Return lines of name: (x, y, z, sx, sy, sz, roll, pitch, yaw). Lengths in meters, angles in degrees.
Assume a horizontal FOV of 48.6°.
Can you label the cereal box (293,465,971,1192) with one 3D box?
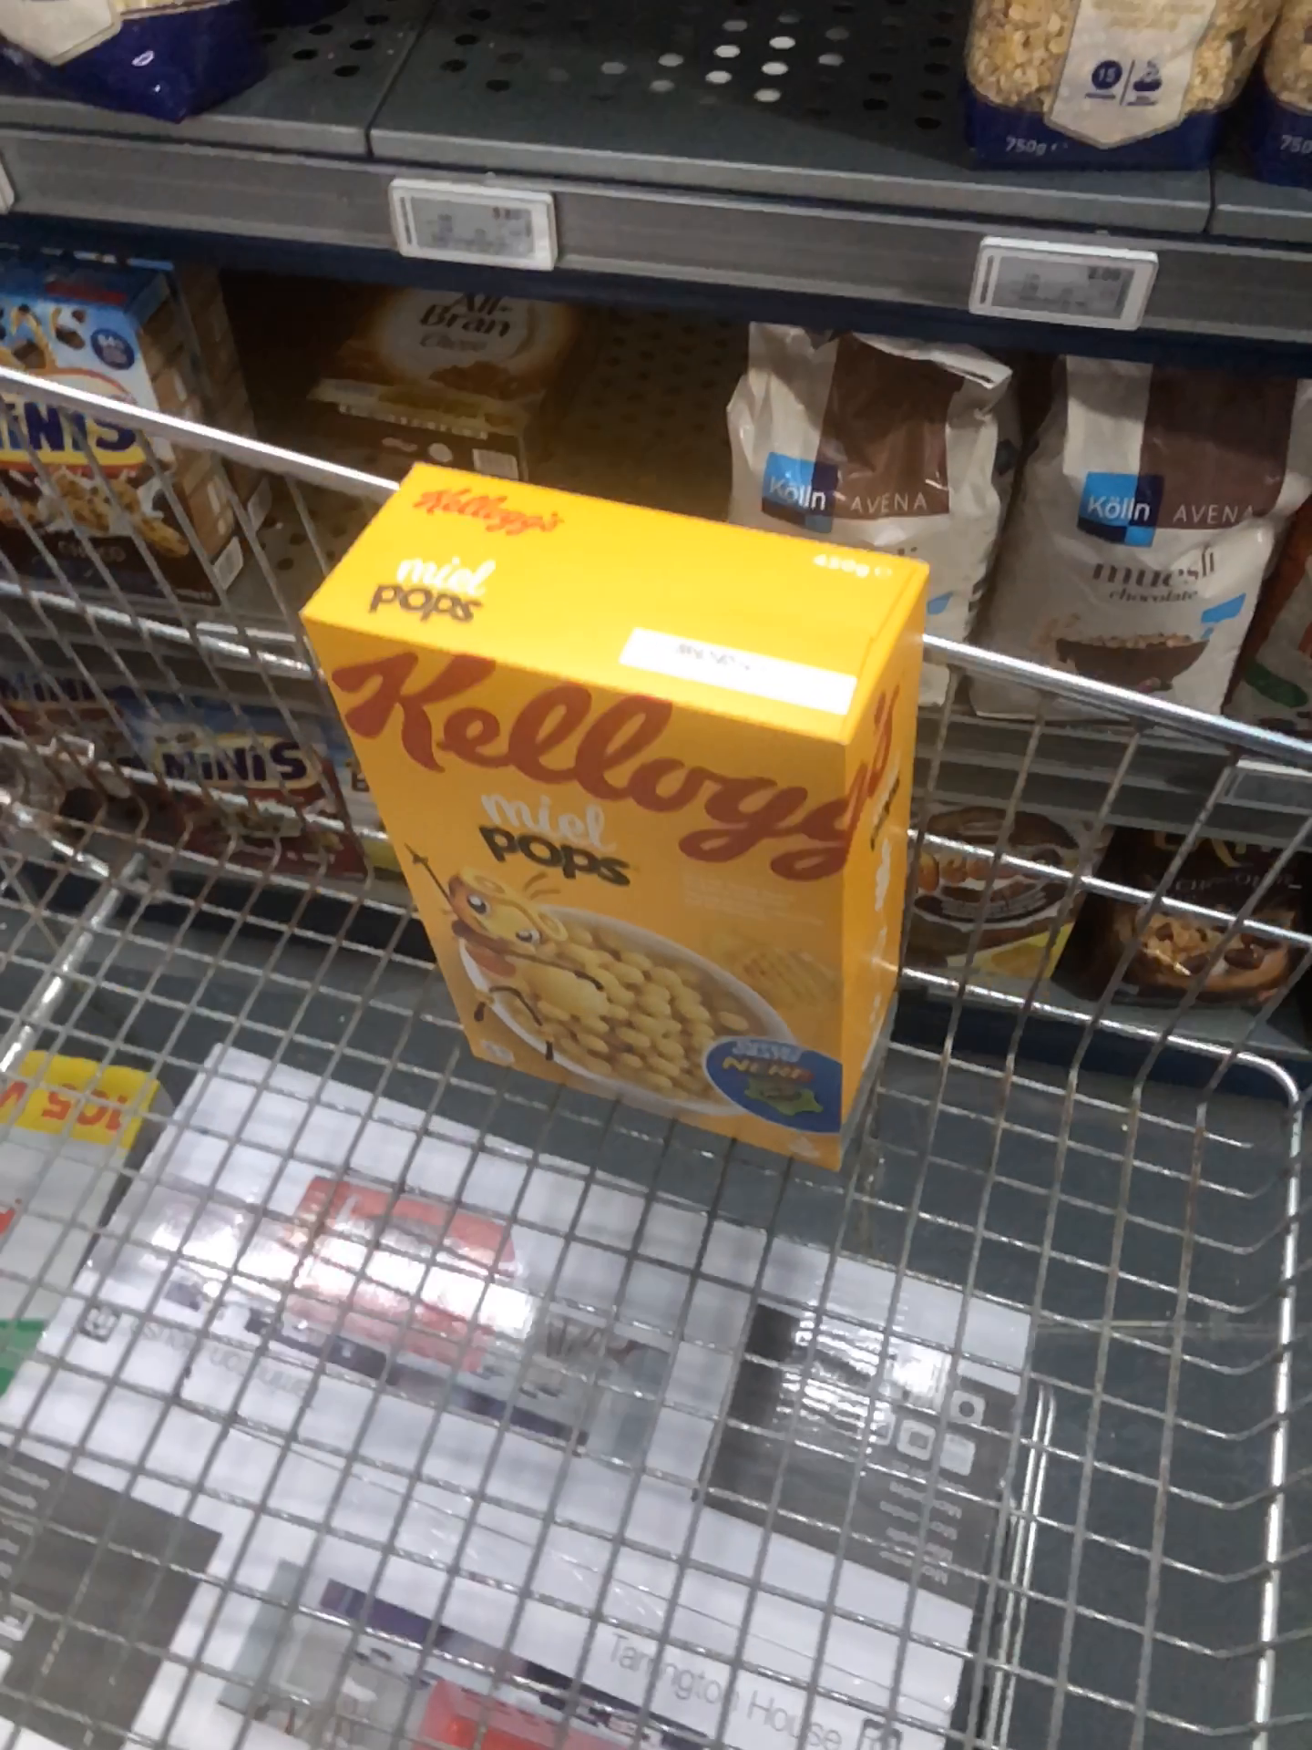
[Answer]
cereal box: (0.000, -0.003, 0.578, 0.200, 0.279, 0.090, 14, 54, 14)
